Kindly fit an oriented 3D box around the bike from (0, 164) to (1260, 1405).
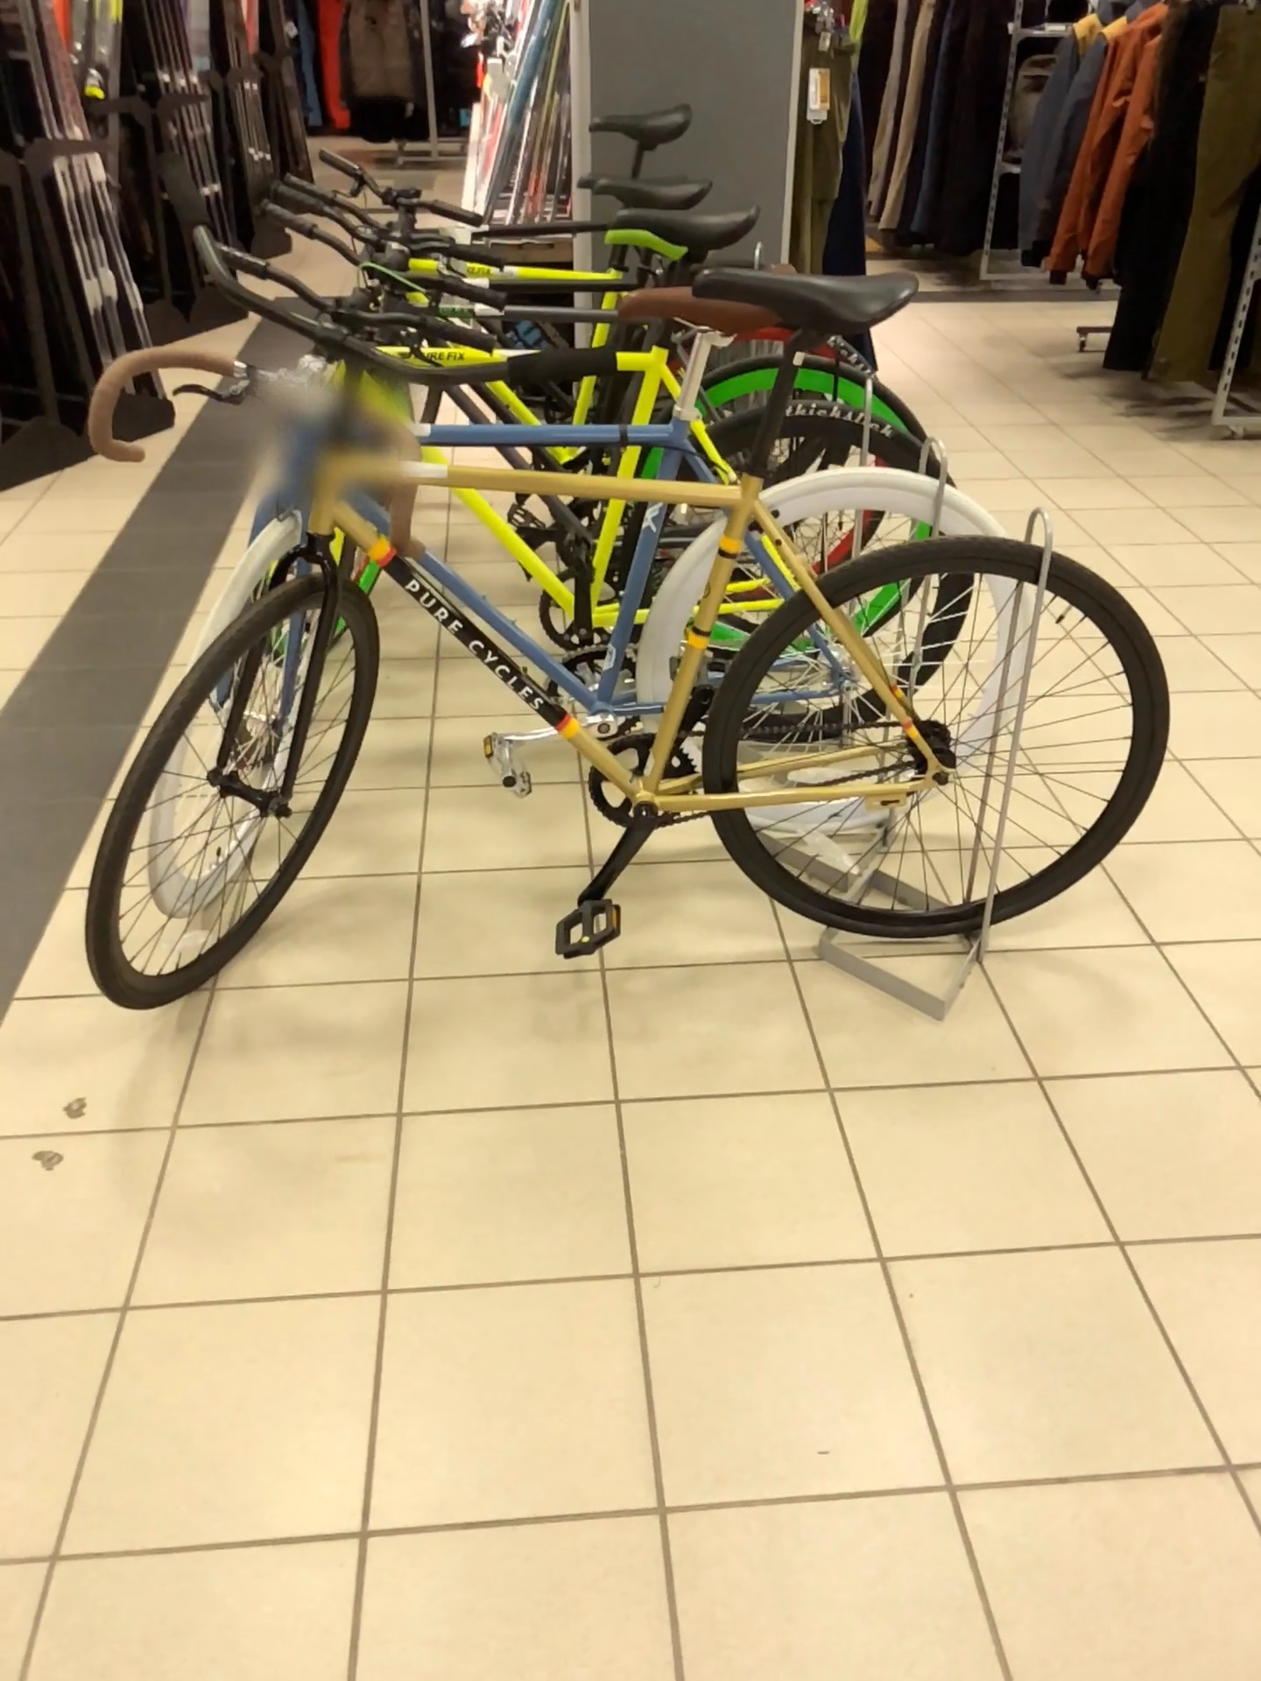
[{"bbox_3d":[0.007,-0.133,1.829,1.463,1.091,0.676,-11,32,-10],"label":"bike"}]
